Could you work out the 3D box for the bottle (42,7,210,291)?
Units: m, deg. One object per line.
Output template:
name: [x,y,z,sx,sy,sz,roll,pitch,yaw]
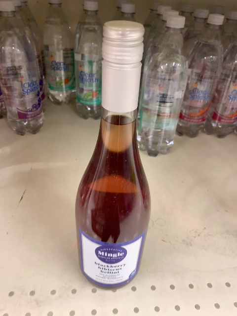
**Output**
bottle: [-0.003,0.026,0.254,0.090,0.298,0.080,4,38,-1]
